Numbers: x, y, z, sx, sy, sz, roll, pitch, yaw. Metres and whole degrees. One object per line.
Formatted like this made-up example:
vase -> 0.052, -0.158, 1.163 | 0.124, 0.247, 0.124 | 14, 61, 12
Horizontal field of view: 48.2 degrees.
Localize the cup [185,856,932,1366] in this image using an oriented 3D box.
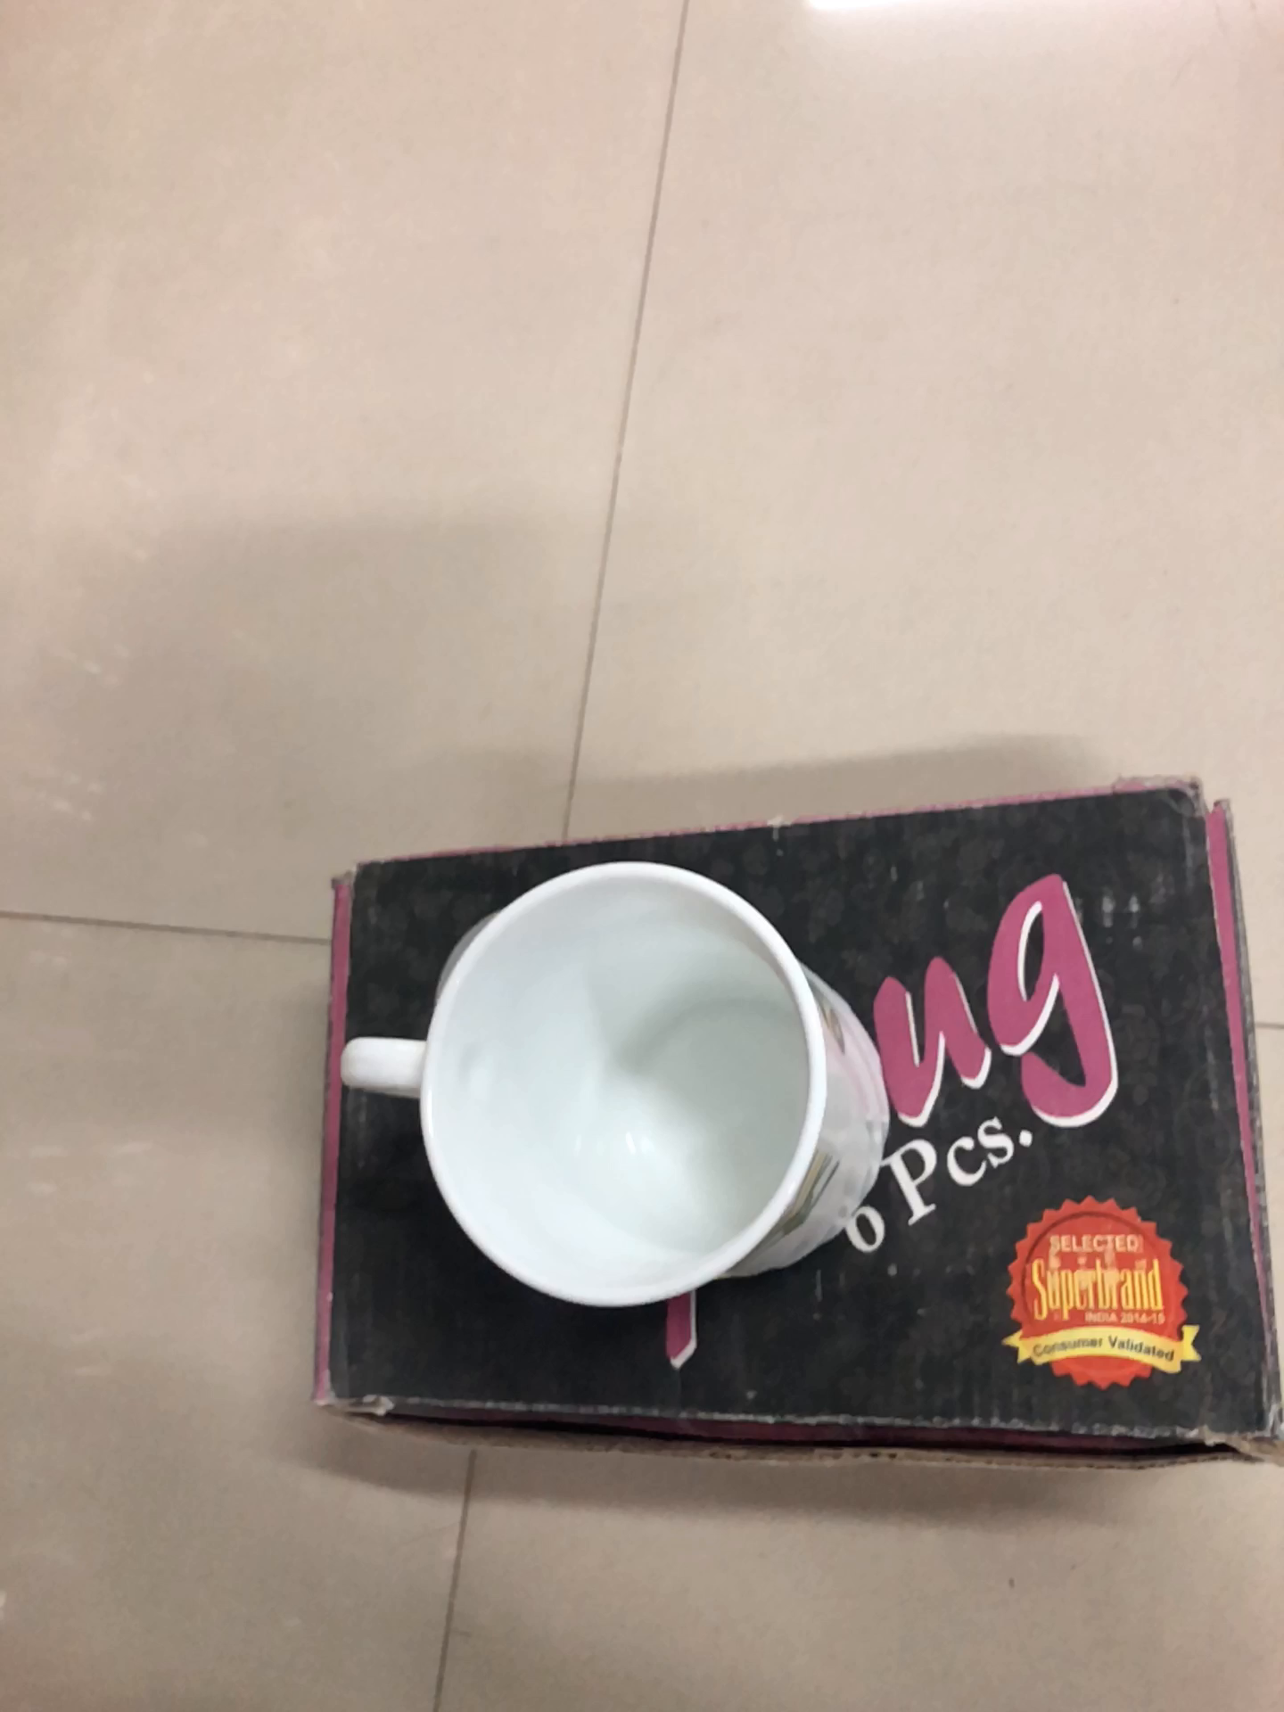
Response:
cup -> -0.009, 0.052, 0.302 | 0.120, 0.100, 0.080 | 2, 77, 20
